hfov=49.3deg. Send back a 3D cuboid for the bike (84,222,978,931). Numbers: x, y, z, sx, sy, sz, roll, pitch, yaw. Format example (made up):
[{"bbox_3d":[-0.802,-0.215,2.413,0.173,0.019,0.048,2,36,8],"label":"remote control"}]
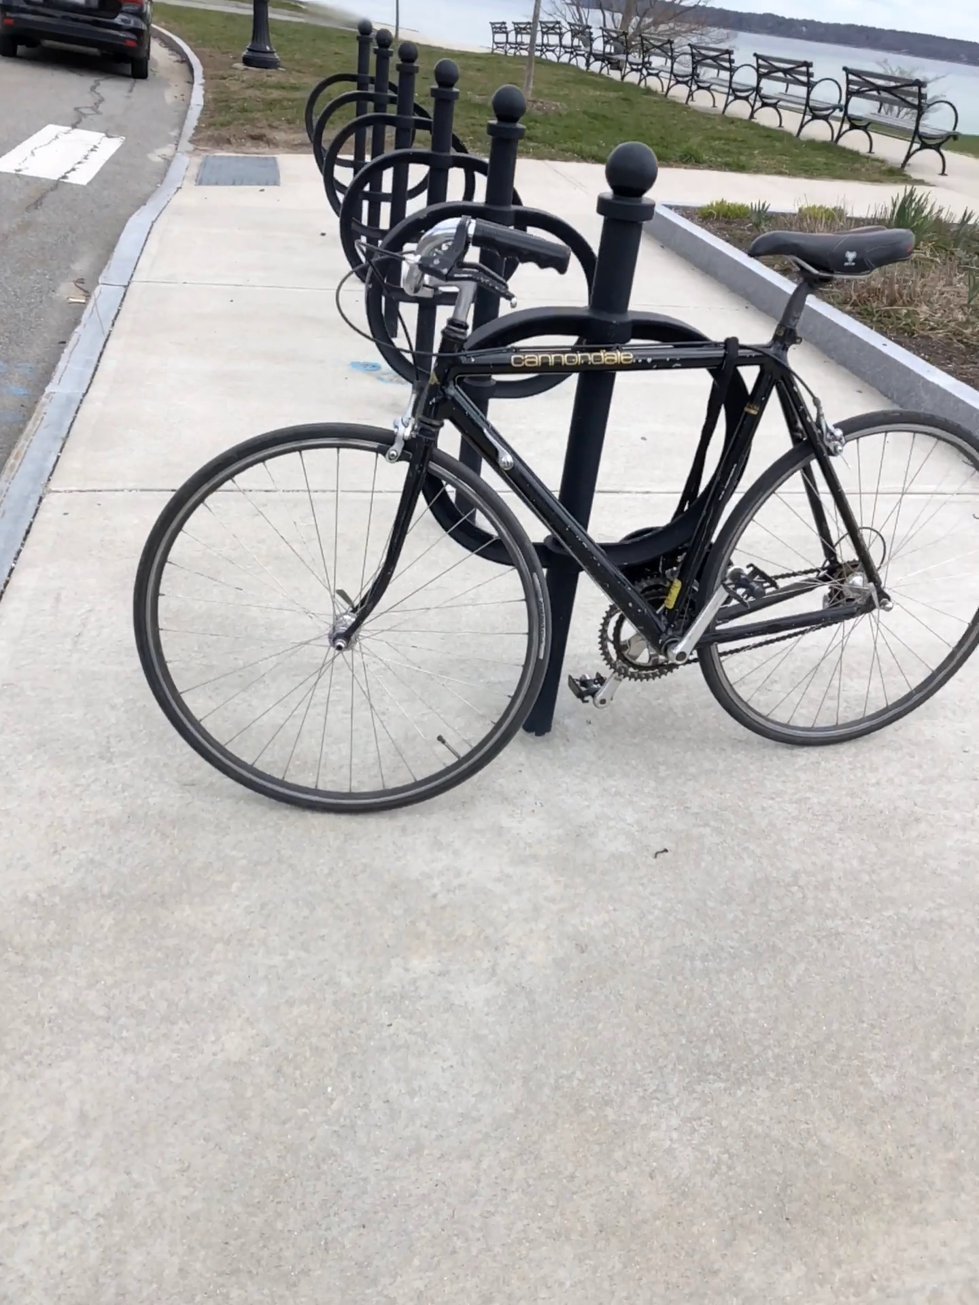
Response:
[{"bbox_3d":[0.190,-0.161,1.589,1.384,0.805,0.488,-4,33,-14],"label":"bike"}]
